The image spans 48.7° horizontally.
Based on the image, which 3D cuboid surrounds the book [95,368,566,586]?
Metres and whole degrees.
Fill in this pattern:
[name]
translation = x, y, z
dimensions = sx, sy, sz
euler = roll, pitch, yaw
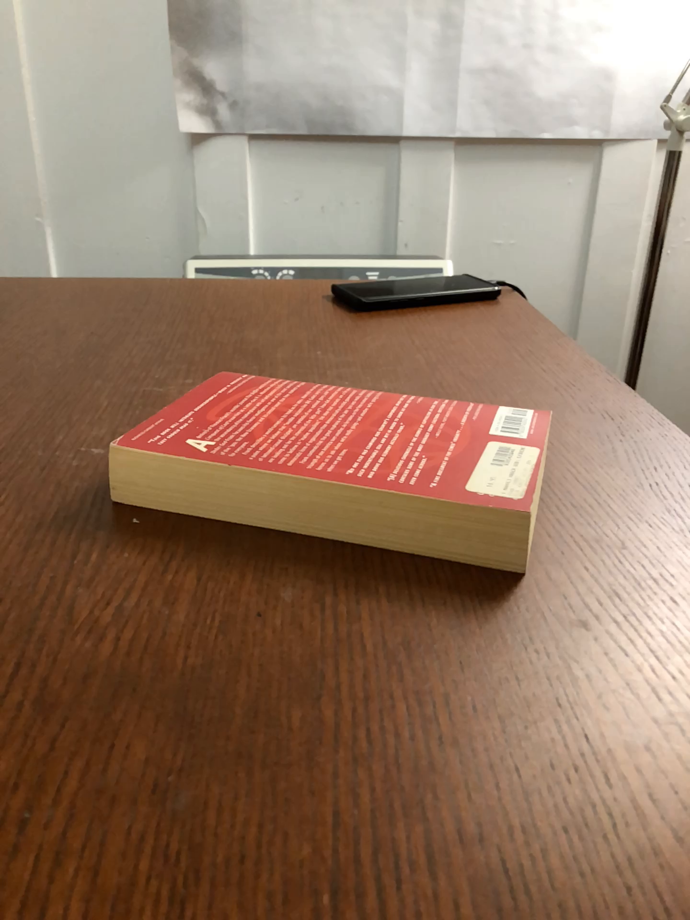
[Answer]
[book]
translation = 0.003, -0.003, 0.398
dimensions = 0.210, 0.030, 0.141
euler = 8, 25, 15
